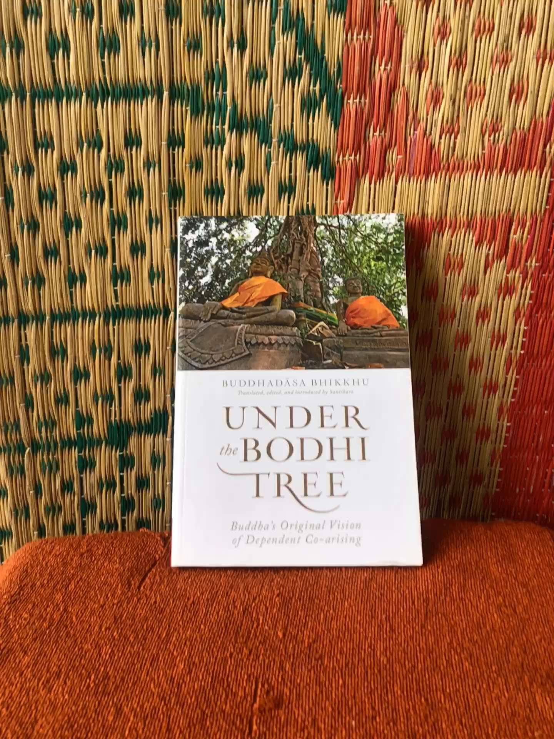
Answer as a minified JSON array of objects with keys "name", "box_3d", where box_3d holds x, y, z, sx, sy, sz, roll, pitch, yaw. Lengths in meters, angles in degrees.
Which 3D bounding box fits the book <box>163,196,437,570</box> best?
[{"name":"book","box_3d":[0.012,0.005,0.392,0.160,0.231,0.030,-1,-10,1]}]
